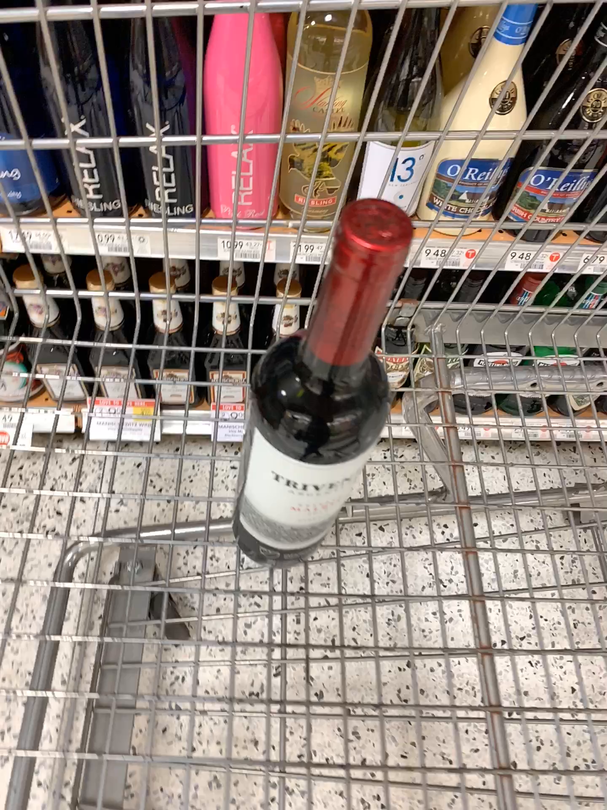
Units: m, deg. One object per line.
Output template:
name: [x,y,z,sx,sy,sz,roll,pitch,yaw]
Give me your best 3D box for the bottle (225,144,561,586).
bottle: [0.013,0.012,0.345,0.090,0.298,0.081,-4,59,-13]
